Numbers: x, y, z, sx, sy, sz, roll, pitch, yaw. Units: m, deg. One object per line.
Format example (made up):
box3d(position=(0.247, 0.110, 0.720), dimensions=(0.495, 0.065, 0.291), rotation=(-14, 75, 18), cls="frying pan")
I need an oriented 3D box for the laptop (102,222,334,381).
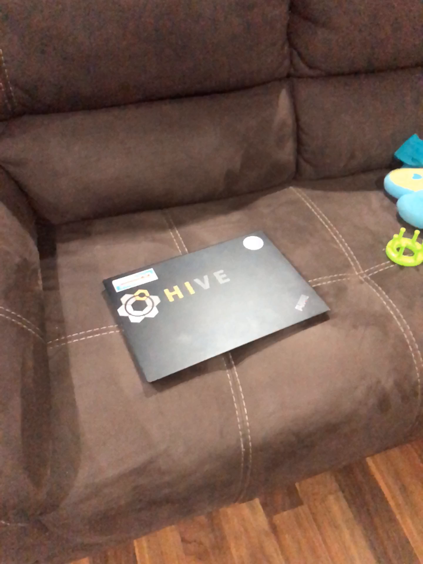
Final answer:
box3d(position=(0.003, 0.014, 0.810), dimensions=(0.328, 0.019, 0.236), rotation=(-19, 48, -16), cls="laptop")
